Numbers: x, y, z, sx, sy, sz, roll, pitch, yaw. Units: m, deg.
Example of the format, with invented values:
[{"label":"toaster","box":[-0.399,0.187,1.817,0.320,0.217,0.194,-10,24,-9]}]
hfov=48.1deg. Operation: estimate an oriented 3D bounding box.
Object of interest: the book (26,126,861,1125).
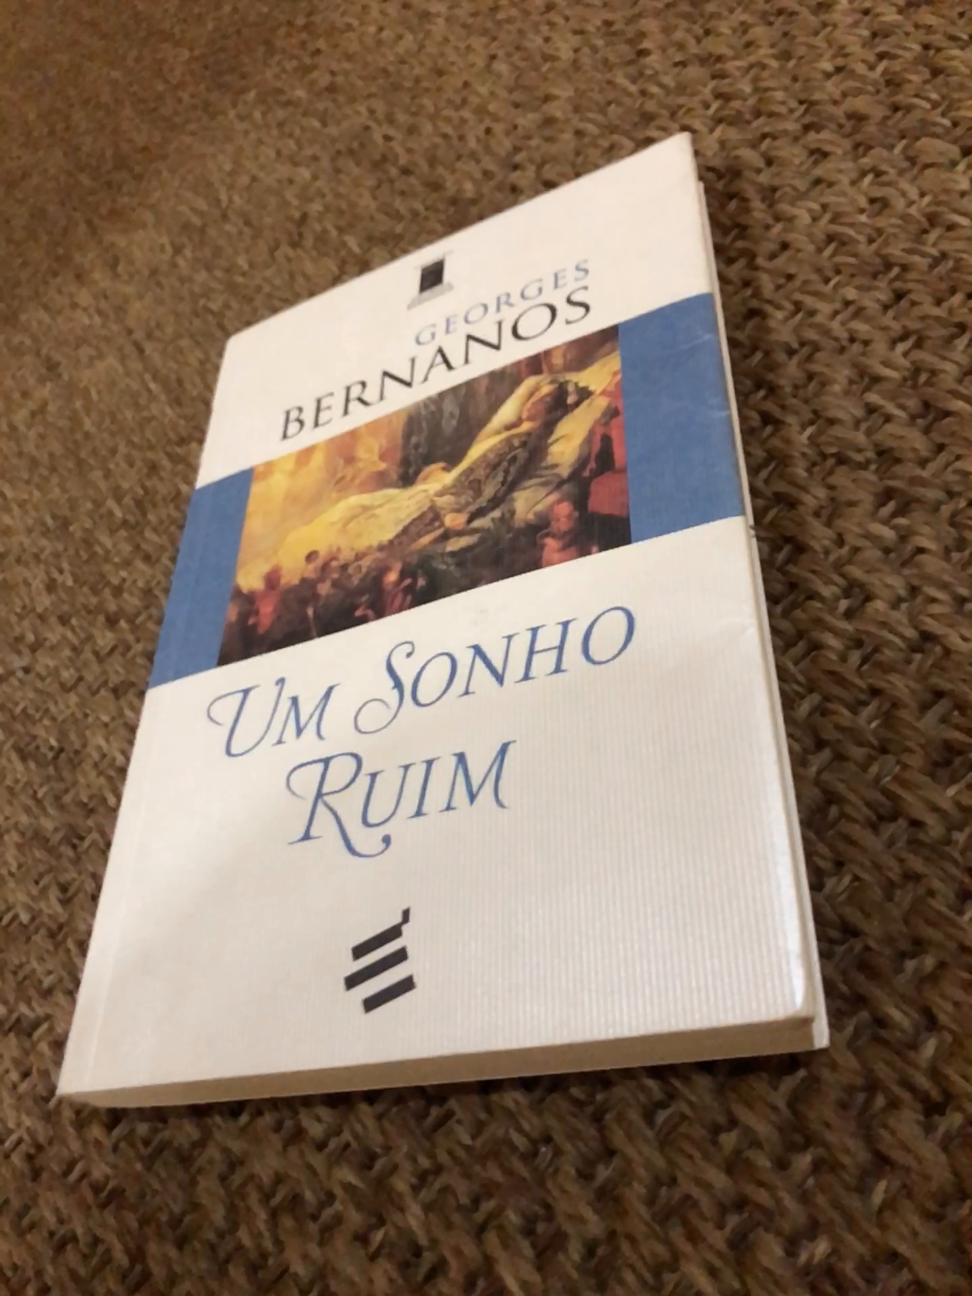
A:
[{"label":"book","box":[-0.013,-0.014,0.227,0.140,0.020,0.199,-16,52,24]}]
